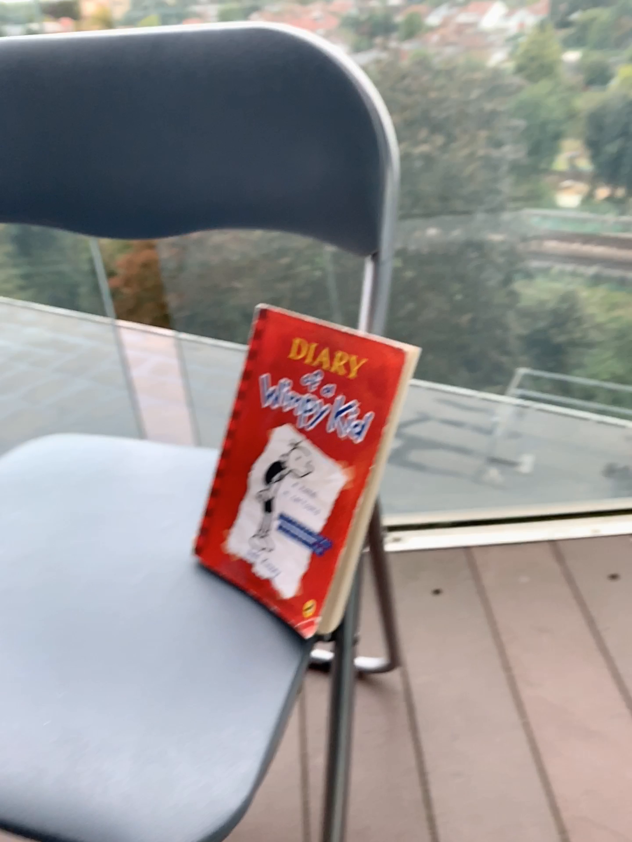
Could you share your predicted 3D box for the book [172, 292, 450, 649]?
[{"bbox_3d":[-0.012,0.026,0.460,0.151,0.199,0.040,22,9,34],"label":"book"}]
